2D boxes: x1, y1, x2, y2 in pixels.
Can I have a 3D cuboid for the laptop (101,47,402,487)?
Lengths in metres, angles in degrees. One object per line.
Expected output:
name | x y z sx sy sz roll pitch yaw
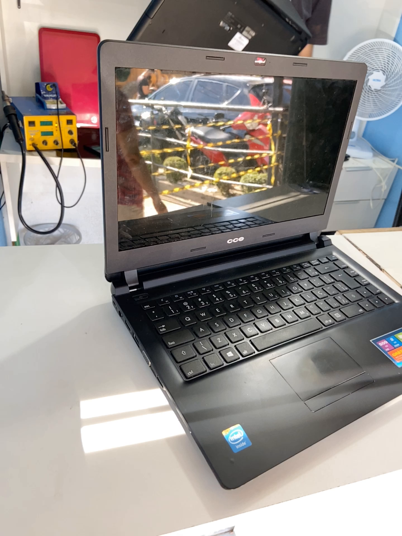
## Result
laptop | 0.106 -0.049 0.393 0.324 0.216 0.267 -13 41 -28
